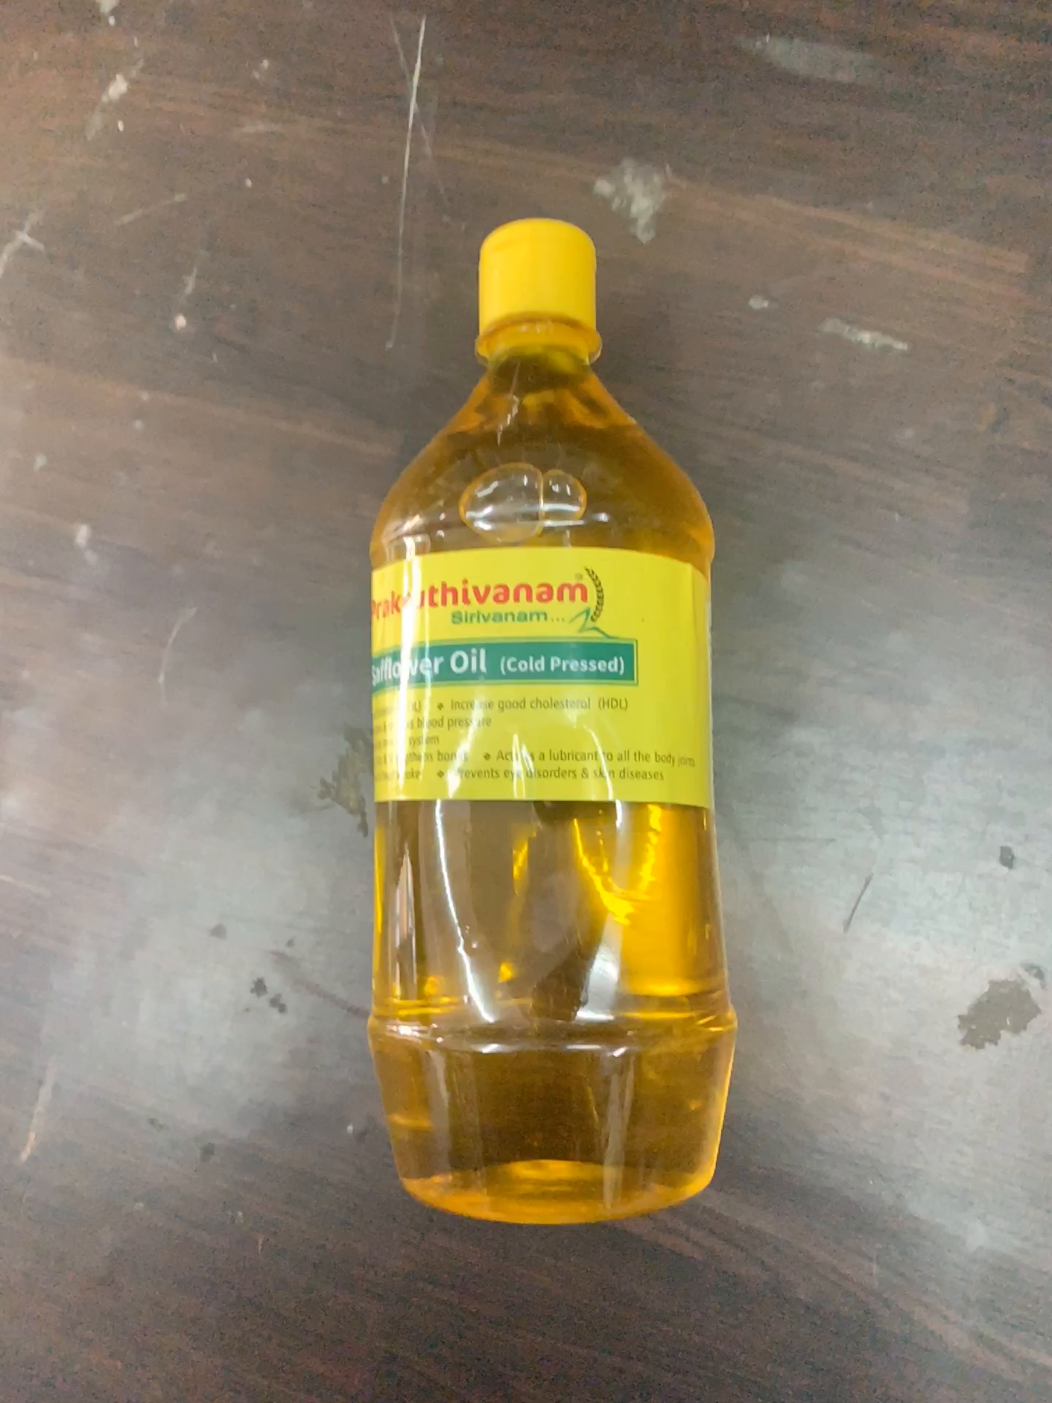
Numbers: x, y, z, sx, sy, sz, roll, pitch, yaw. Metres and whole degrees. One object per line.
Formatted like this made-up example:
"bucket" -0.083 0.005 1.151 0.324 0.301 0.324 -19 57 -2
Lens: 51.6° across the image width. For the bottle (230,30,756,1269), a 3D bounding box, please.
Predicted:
"bottle" -0.004 -0.010 0.254 0.090 0.080 0.230 -4 82 25
